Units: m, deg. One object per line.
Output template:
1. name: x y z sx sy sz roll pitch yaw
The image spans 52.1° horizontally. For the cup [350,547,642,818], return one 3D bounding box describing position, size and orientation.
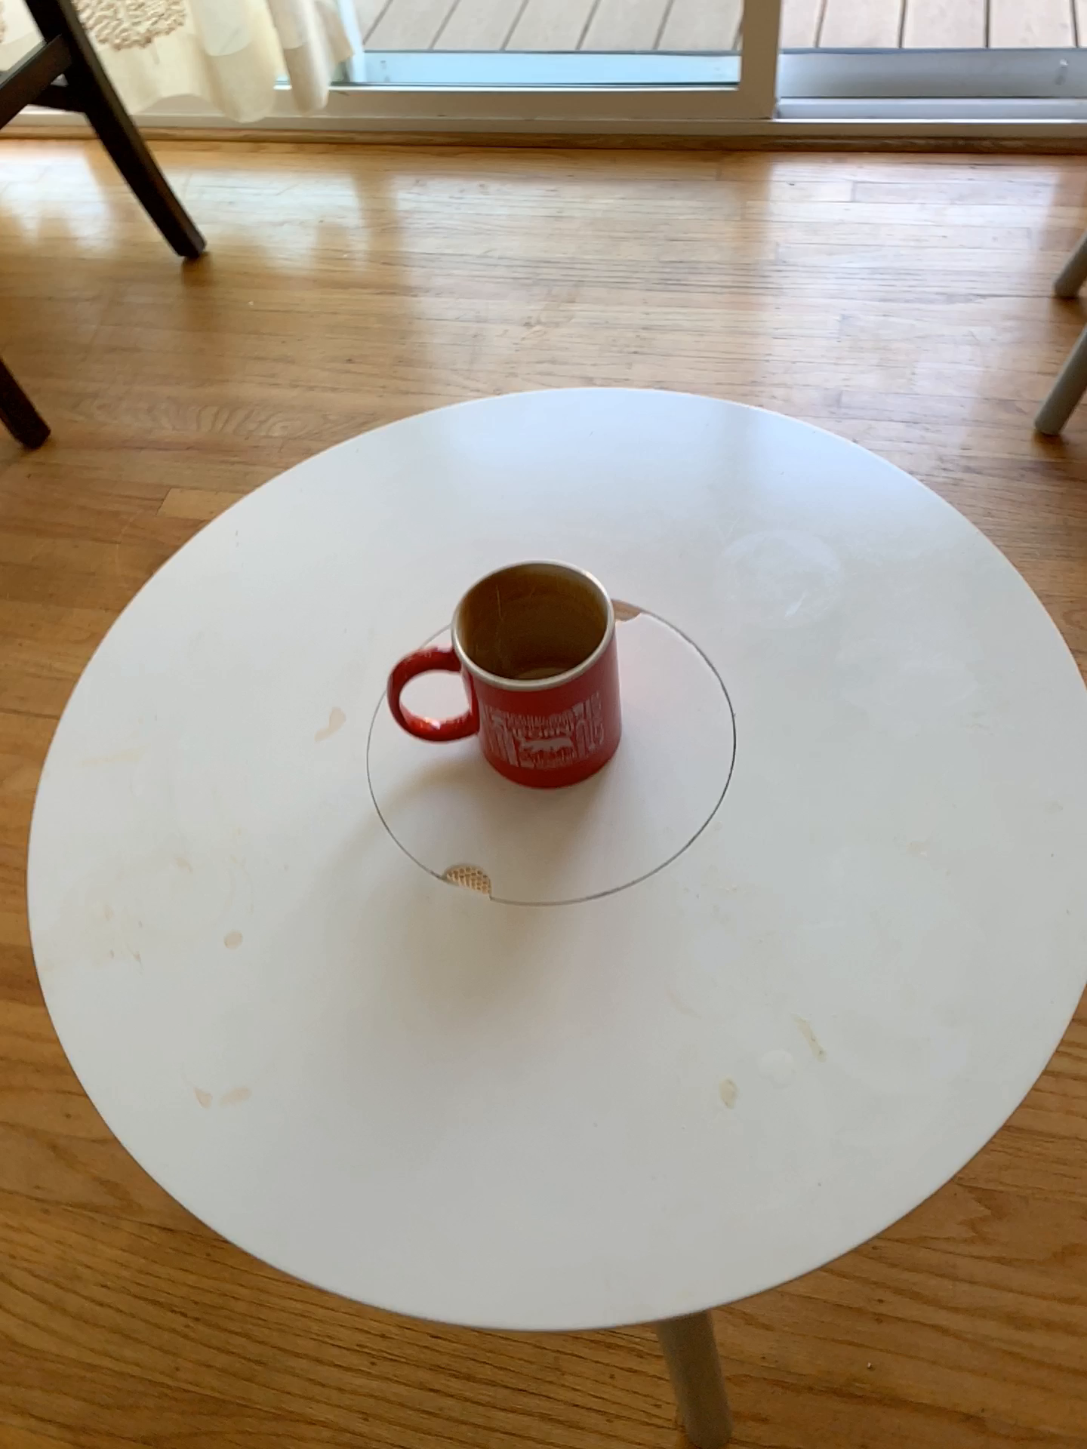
1. cup: -0.020 -0.019 0.563 0.130 0.090 0.090 -5 56 4
